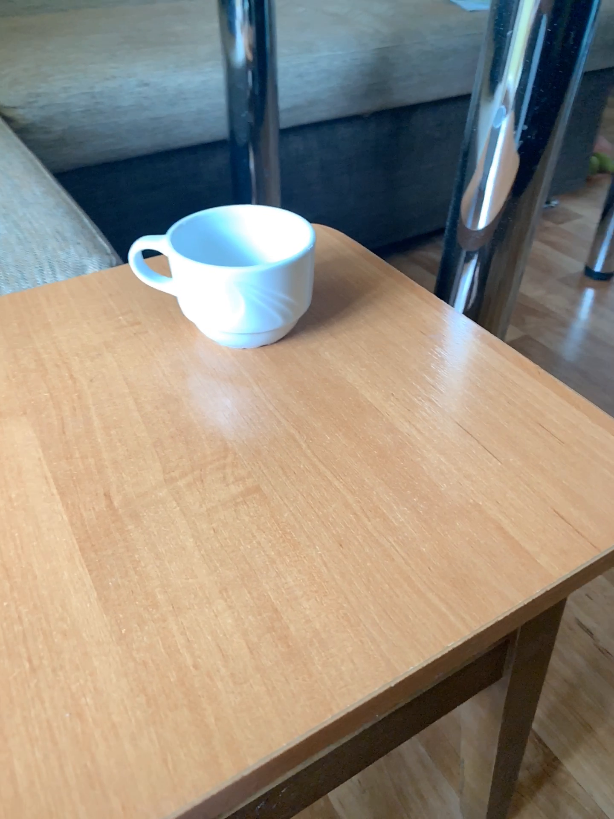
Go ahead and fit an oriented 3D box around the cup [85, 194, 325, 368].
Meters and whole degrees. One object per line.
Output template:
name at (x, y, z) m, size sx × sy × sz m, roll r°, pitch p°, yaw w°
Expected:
cup at (-0.046, -0.070, 0.331) m, size 0.100 × 0.050 × 0.080 m, roll 6°, pitch 40°, yaw 7°
